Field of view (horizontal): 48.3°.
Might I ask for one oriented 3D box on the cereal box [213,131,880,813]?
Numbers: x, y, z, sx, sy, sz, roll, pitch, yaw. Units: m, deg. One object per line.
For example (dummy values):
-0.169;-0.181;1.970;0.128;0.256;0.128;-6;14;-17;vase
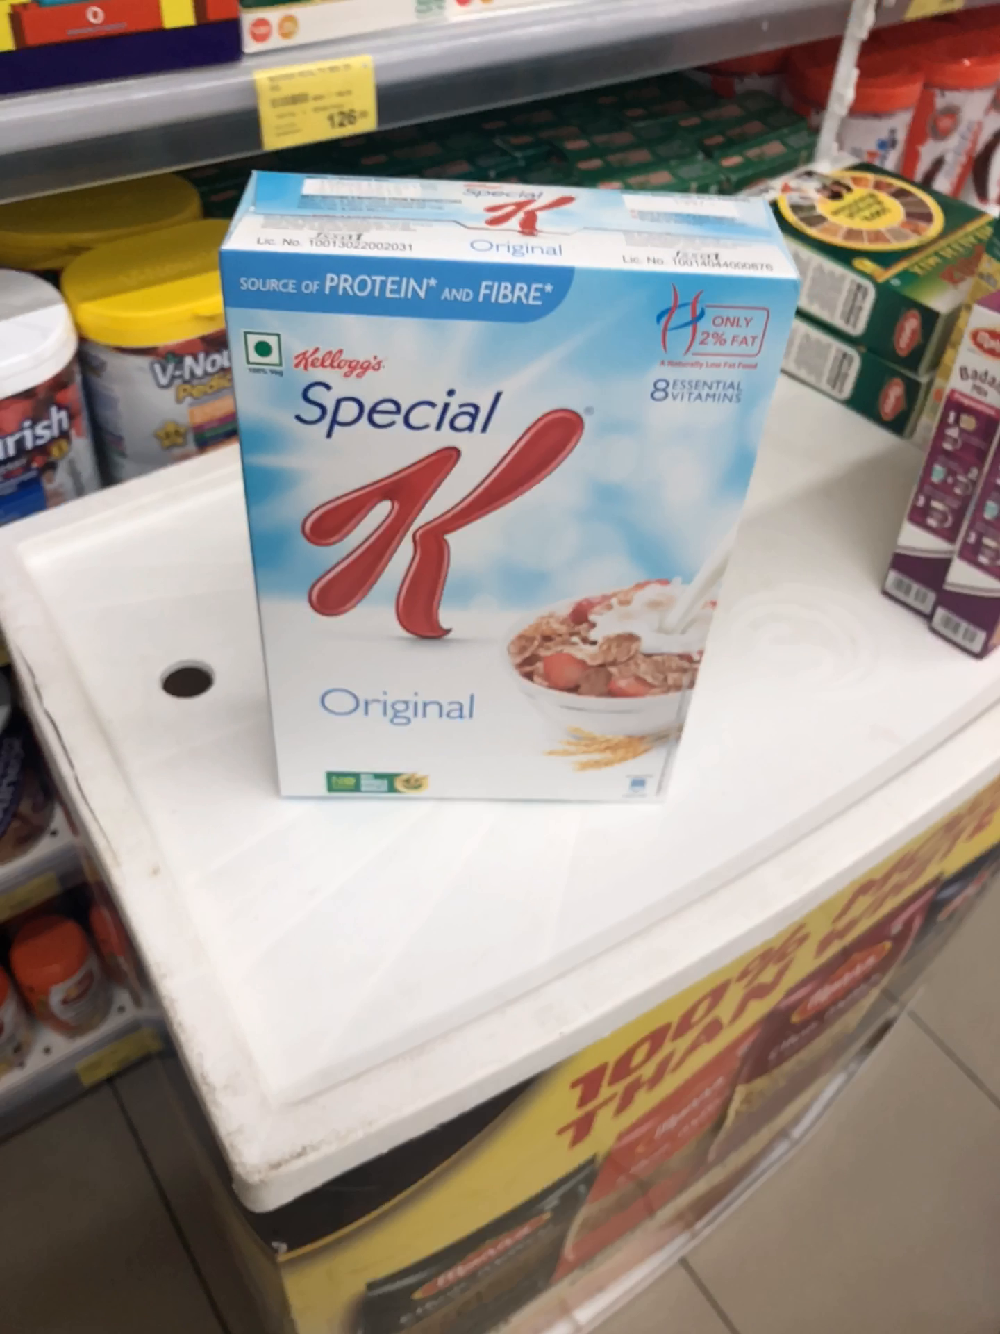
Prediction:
0.006;-0.053;0.431;0.190;0.259;0.070;1;44;-4;cereal box
